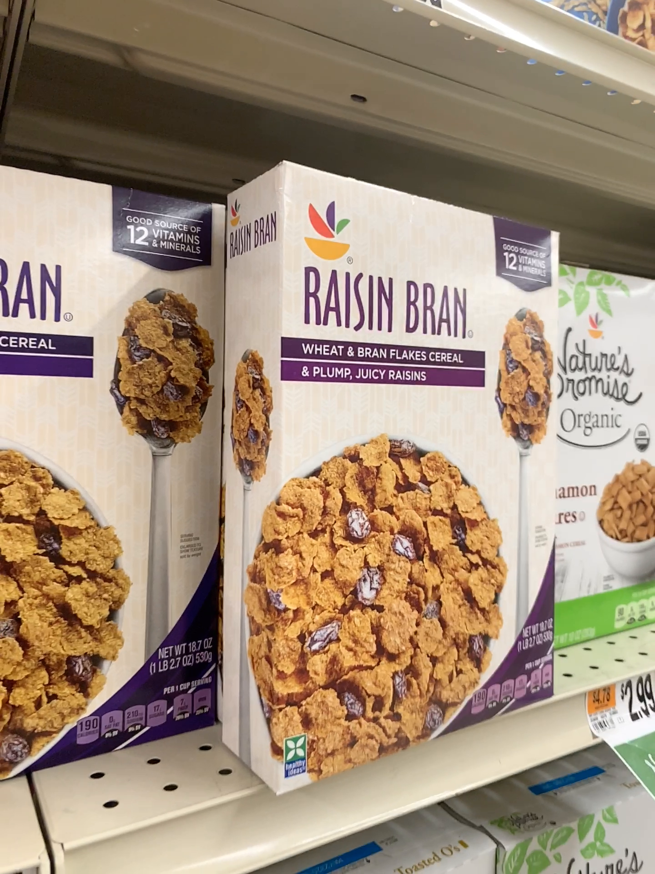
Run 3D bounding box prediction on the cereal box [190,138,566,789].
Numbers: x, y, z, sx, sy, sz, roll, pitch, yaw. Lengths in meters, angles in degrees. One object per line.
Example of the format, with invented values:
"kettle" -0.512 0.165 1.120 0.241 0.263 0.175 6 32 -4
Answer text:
"cereal box" 0.032 0.010 0.361 0.190 0.270 0.070 0 3 -34
